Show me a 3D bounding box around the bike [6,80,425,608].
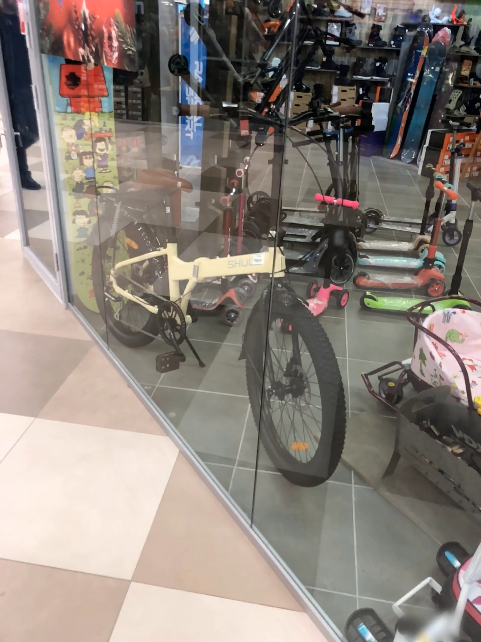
[{"bbox_3d":[-0.270,-0.184,1.966,0.594,1.175,1.708,-16,33,-34],"label":"bike"}]
